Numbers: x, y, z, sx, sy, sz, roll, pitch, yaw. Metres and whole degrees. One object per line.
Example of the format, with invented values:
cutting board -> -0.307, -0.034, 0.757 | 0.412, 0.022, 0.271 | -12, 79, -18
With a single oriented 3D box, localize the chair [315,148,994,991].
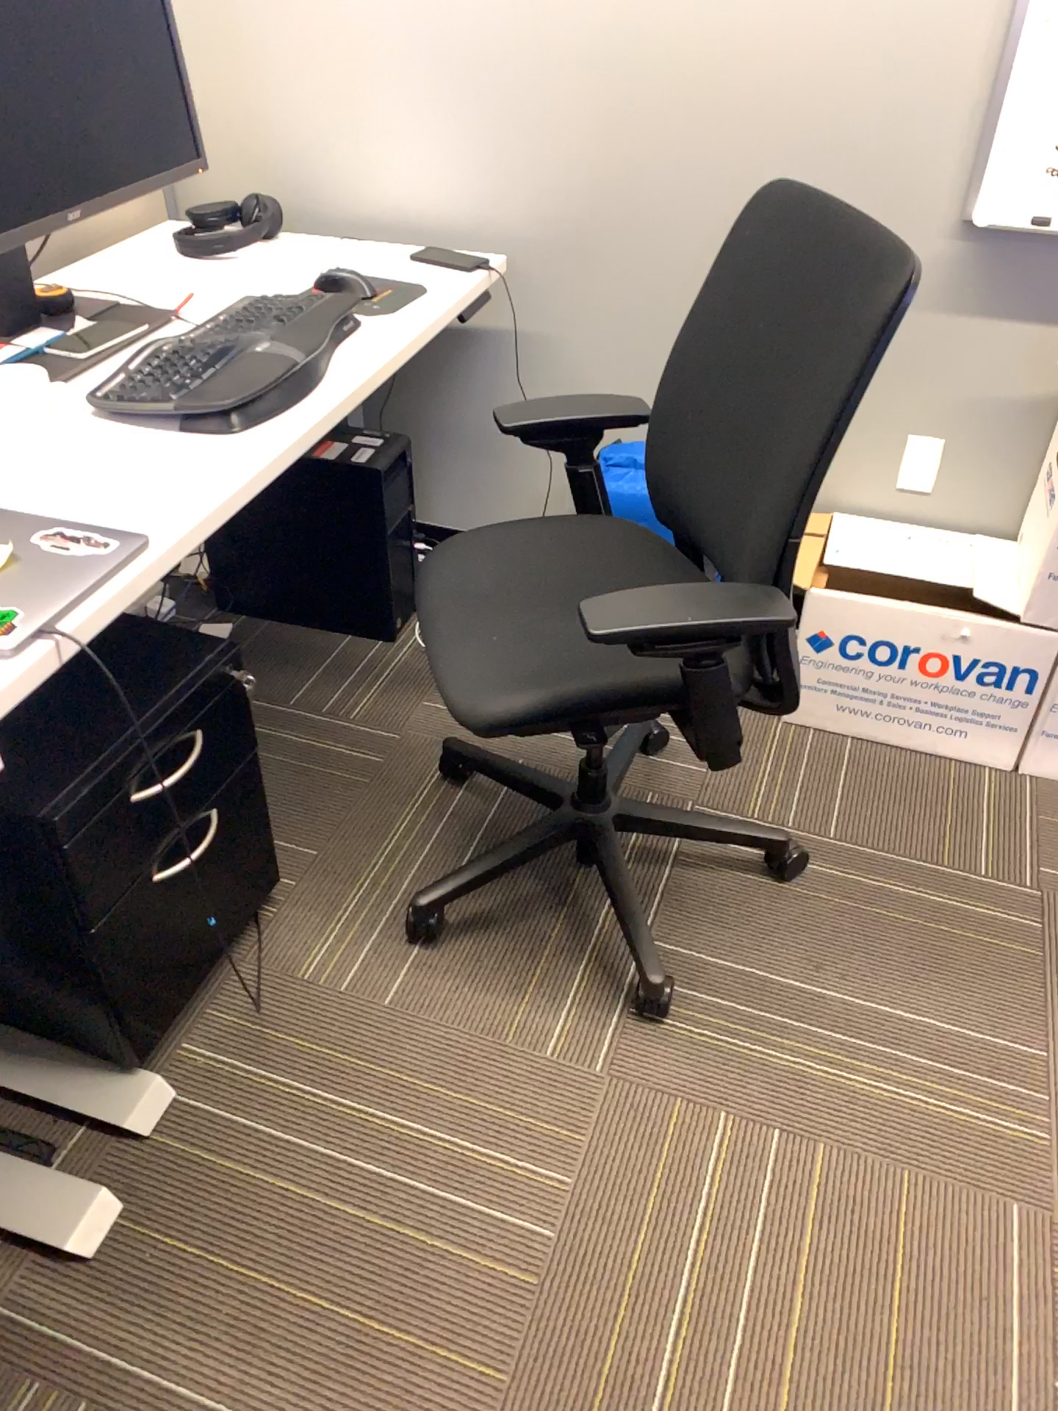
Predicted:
chair -> 0.075, -0.250, 1.673 | 0.610, 0.945, 0.835 | -9, 39, -13
